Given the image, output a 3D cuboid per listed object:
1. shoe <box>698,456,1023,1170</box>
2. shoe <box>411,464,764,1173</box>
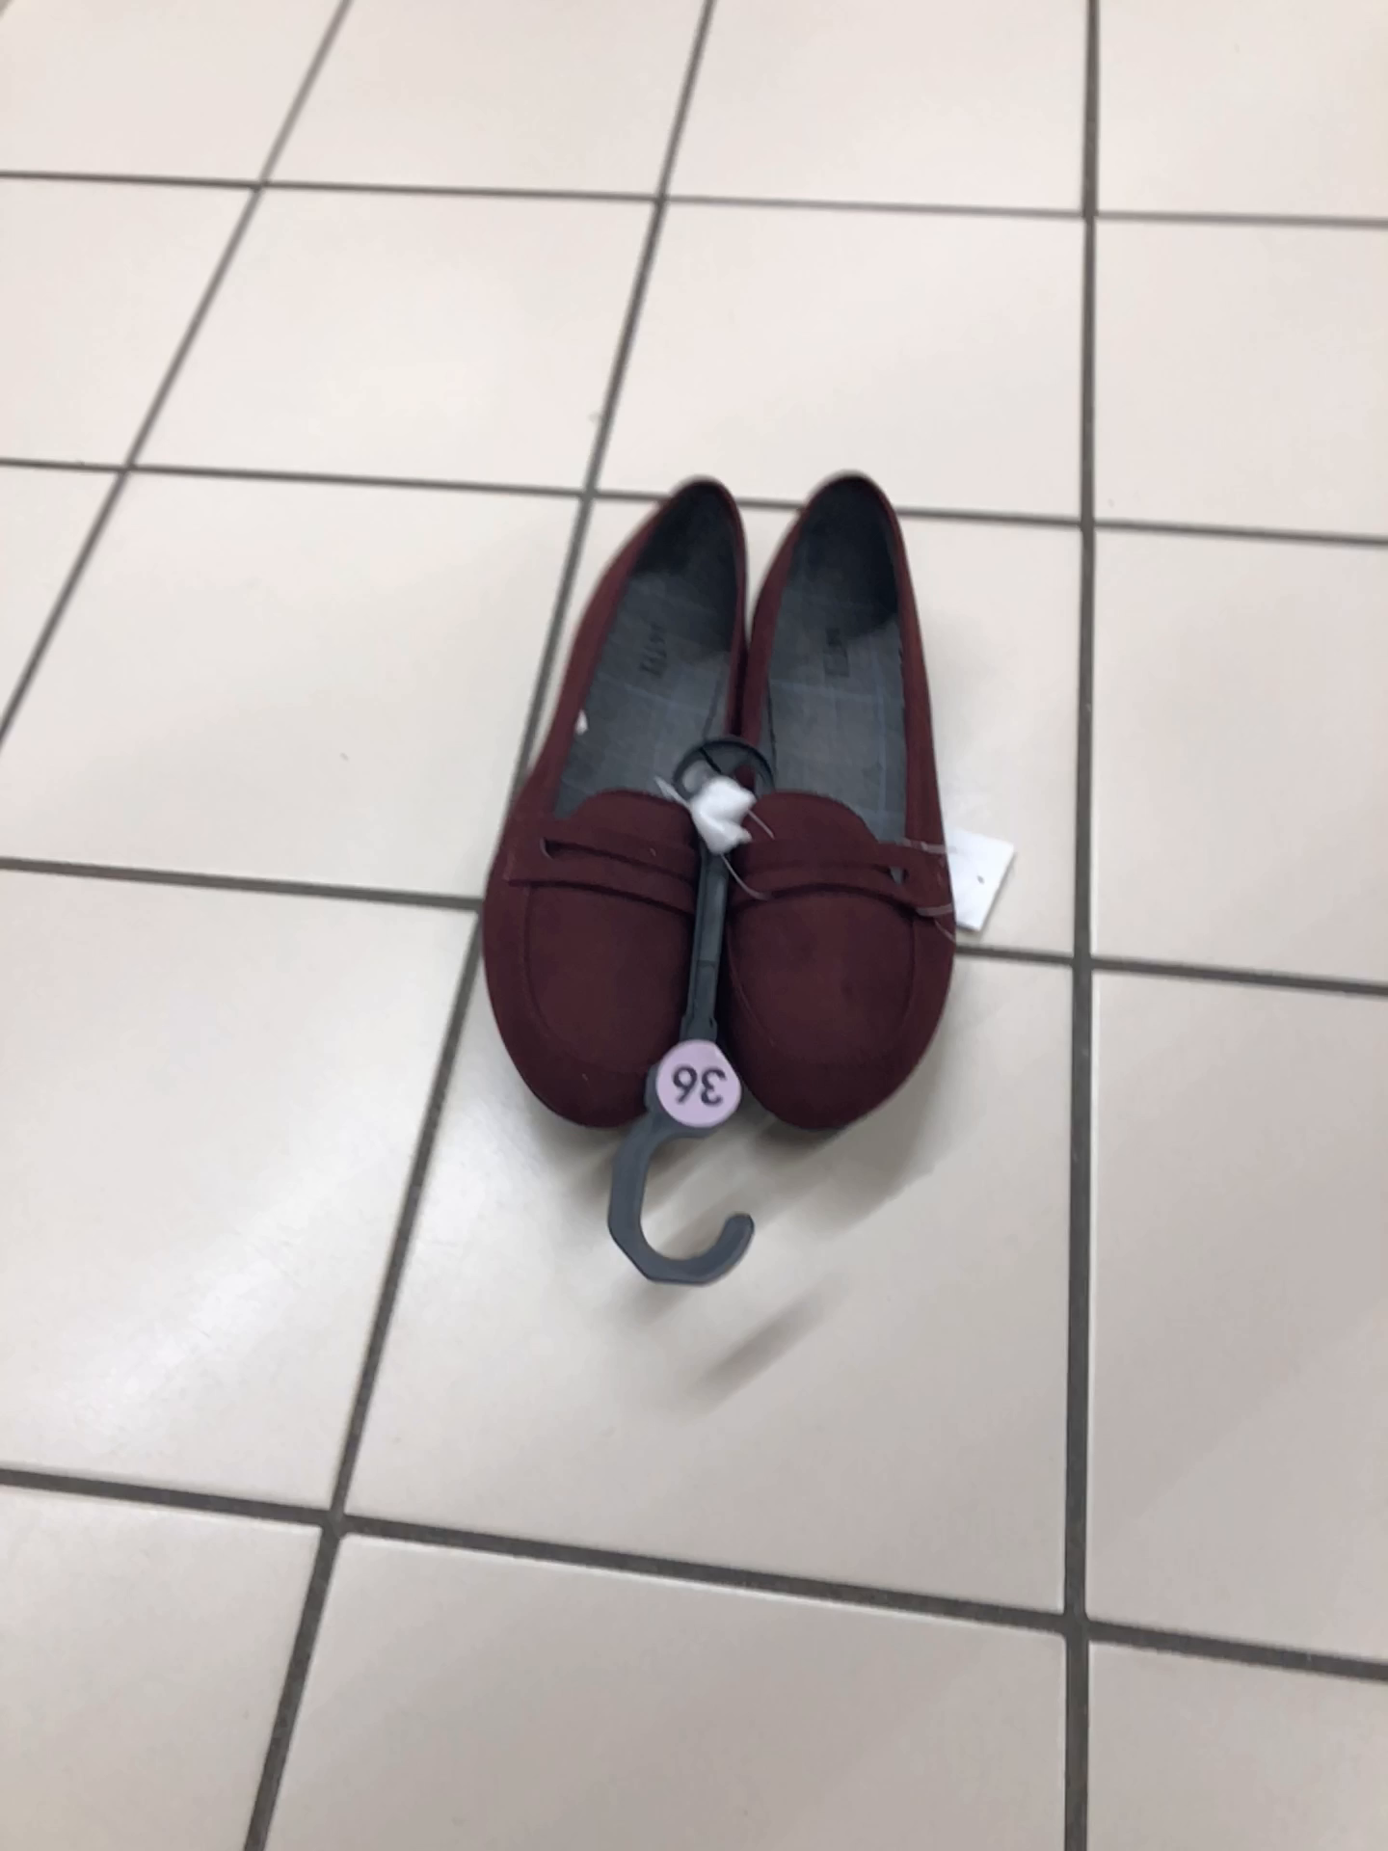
[{"bbox_3d":[0.046,-0.046,0.496,0.078,0.056,0.240,-3,58,1],"label":"shoe"},{"bbox_3d":[-0.025,-0.045,0.499,0.078,0.057,0.240,3,58,5],"label":"shoe"}]
